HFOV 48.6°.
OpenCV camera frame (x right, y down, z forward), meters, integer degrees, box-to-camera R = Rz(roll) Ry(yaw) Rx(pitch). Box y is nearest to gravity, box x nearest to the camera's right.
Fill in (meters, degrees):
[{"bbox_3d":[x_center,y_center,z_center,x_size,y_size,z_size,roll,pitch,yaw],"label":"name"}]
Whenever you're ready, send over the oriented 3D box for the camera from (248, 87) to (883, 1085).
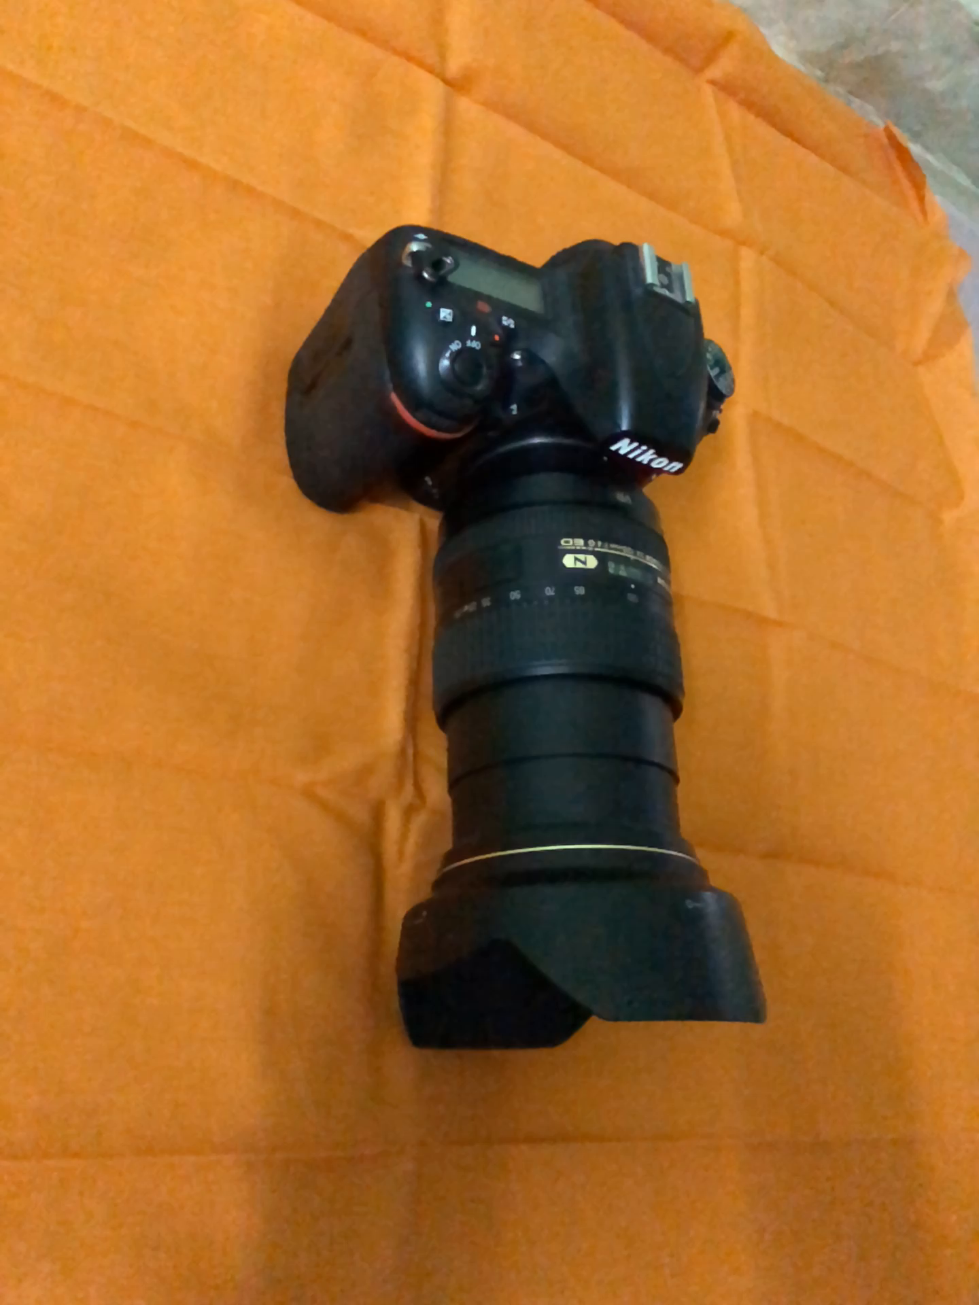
[{"bbox_3d":[0.013,-0.009,0.346,0.131,0.120,0.264,11,67,-33],"label":"camera"}]
